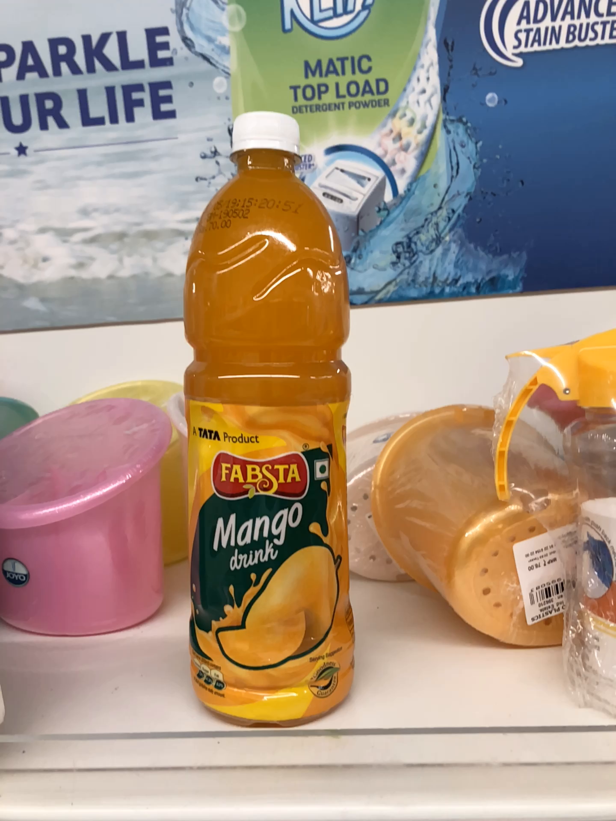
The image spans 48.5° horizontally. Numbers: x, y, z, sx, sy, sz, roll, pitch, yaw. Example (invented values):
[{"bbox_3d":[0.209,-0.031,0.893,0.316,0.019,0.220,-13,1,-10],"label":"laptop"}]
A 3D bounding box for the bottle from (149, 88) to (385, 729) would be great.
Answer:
[{"bbox_3d":[-0.017,0.001,0.316,0.090,0.260,0.080,1,6,0],"label":"bottle"}]
